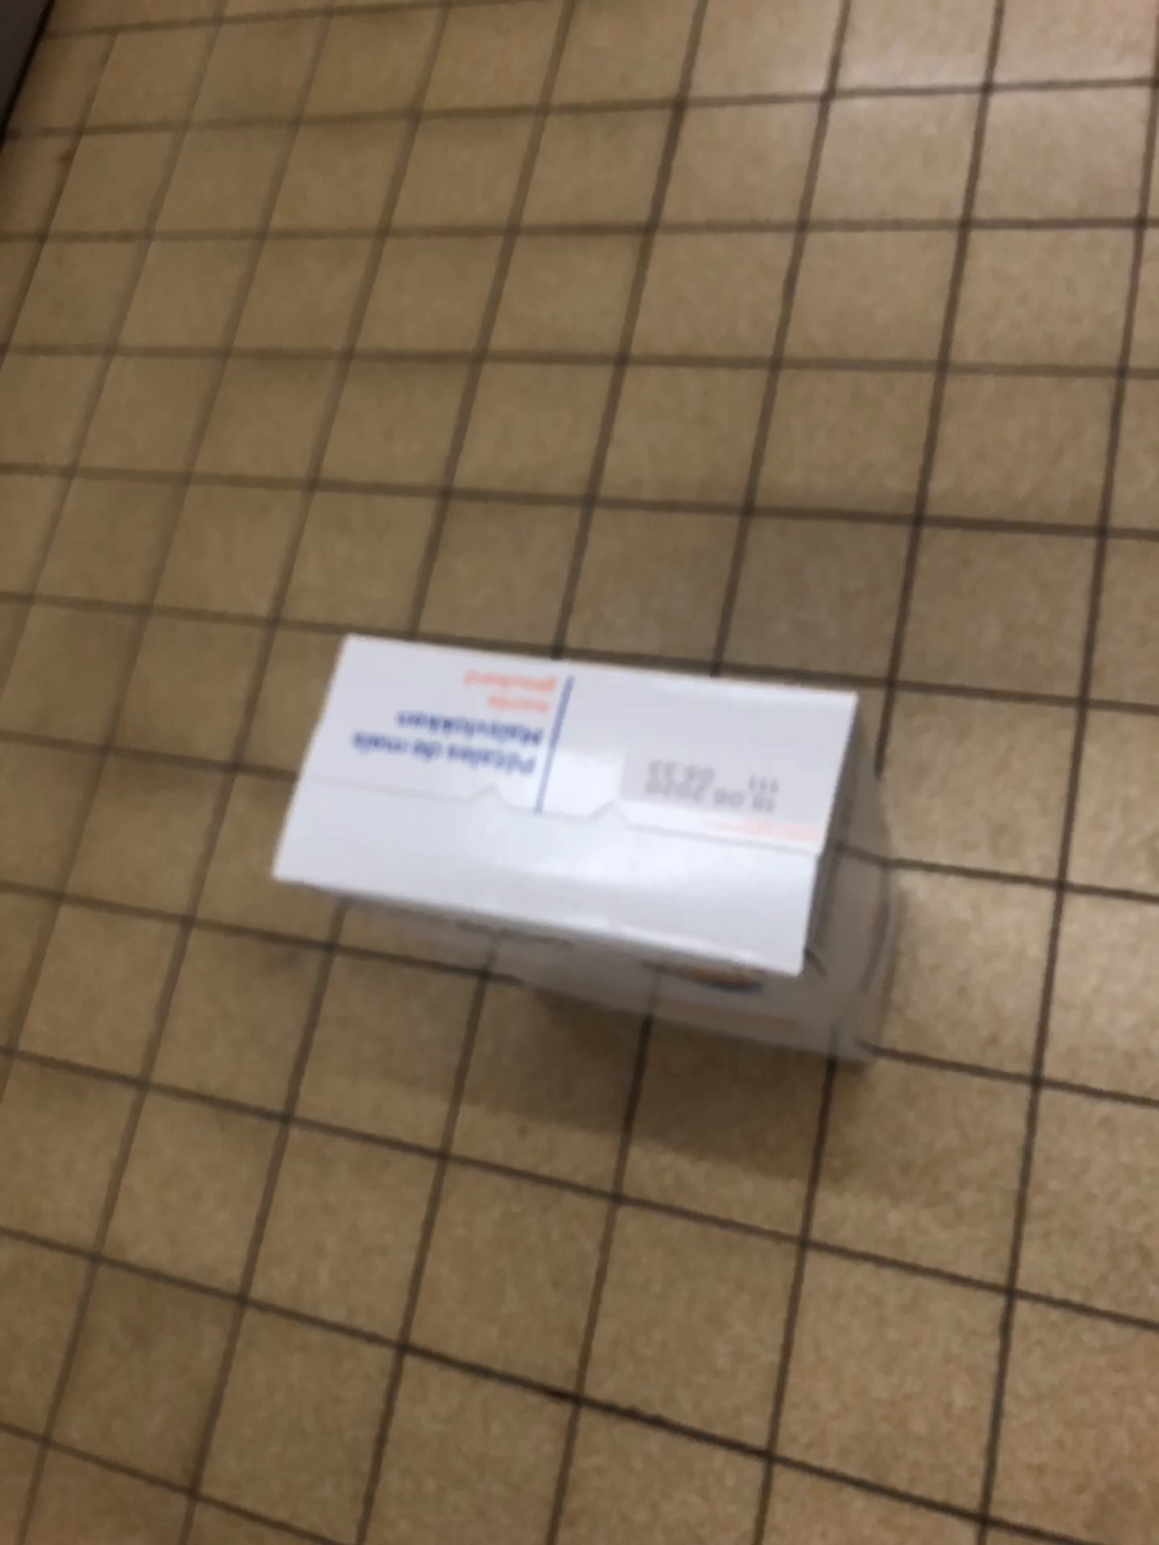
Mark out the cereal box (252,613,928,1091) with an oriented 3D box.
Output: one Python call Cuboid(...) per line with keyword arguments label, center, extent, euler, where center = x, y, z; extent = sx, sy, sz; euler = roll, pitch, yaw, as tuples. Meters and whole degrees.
Cuboid(label="cereal box", center=(0.035, 0.051, 0.564), extent=(0.200, 0.300, 0.110), euler=(9, 76, 19))
